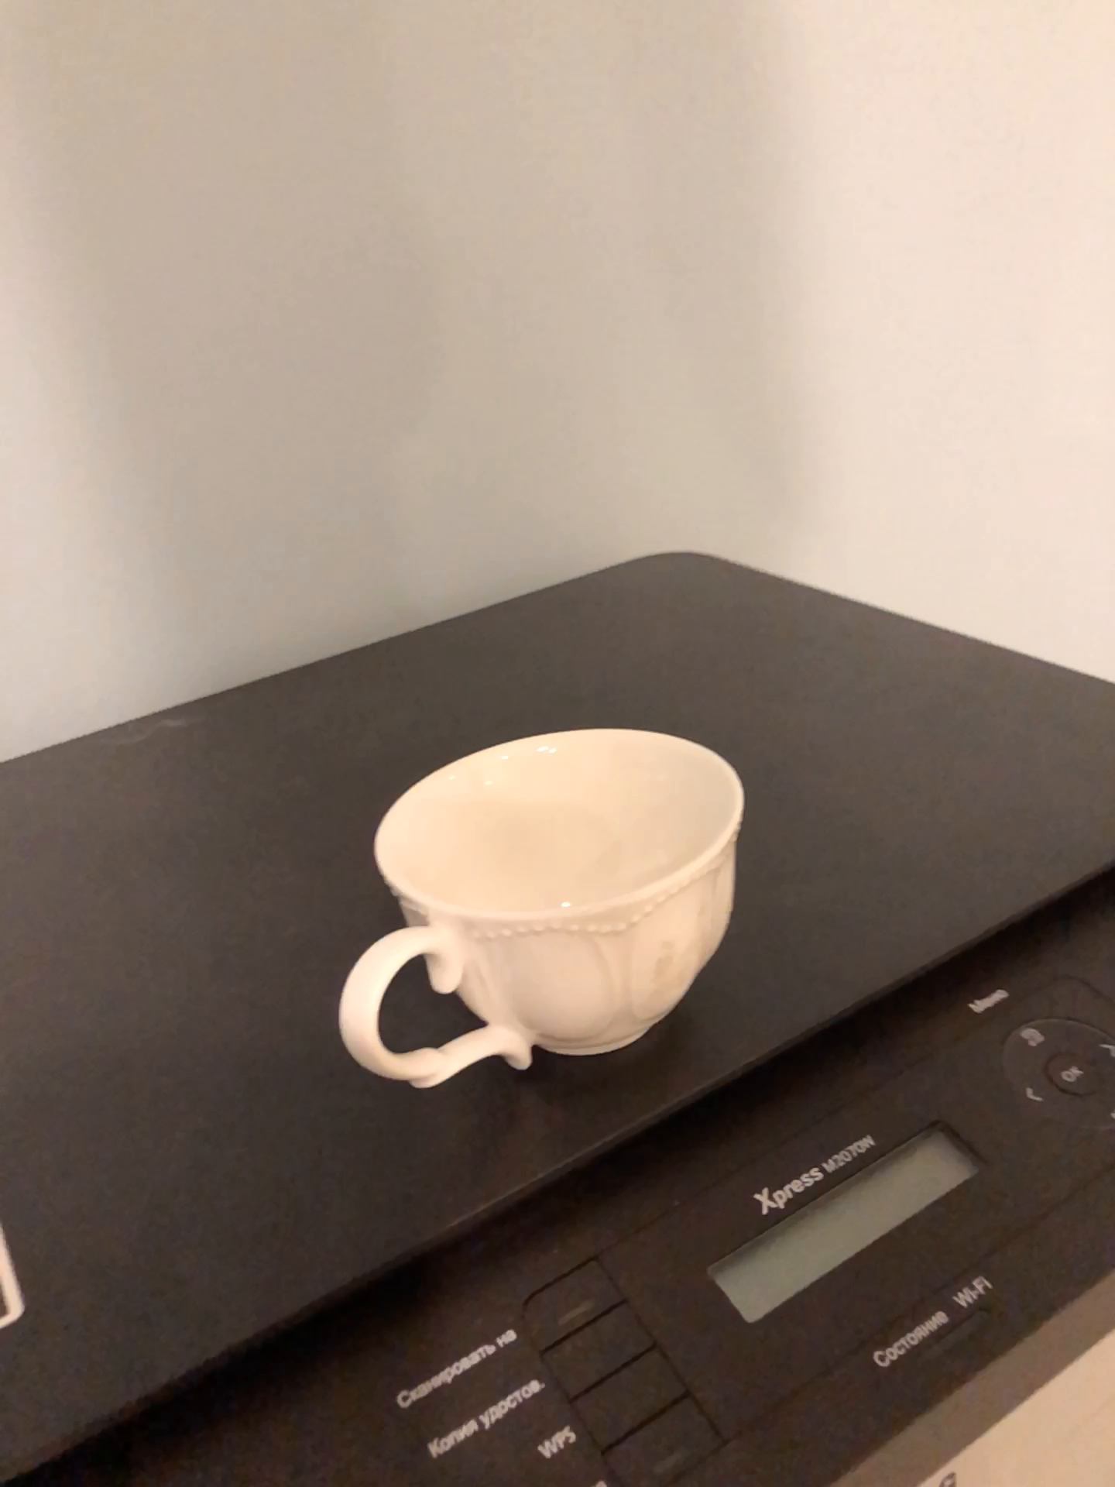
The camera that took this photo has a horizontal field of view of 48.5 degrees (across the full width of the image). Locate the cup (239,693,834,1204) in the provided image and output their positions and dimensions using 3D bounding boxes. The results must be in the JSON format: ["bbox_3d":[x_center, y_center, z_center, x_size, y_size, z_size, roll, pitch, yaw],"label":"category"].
[{"bbox_3d":[0.000,0.032,0.254,0.076,0.044,0.094,13,30,37],"label":"cup"}]
